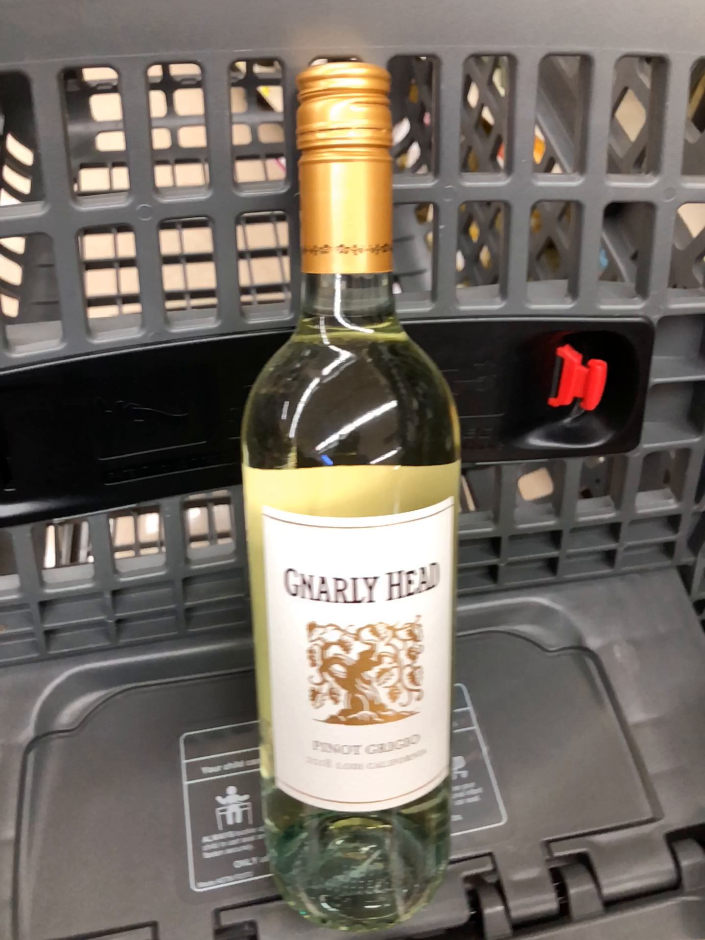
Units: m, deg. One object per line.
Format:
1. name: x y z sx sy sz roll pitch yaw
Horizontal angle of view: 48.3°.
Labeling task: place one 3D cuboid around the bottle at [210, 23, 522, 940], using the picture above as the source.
1. bottle: 0.003 0.016 0.265 0.080 0.070 0.280 -3 103 -7
